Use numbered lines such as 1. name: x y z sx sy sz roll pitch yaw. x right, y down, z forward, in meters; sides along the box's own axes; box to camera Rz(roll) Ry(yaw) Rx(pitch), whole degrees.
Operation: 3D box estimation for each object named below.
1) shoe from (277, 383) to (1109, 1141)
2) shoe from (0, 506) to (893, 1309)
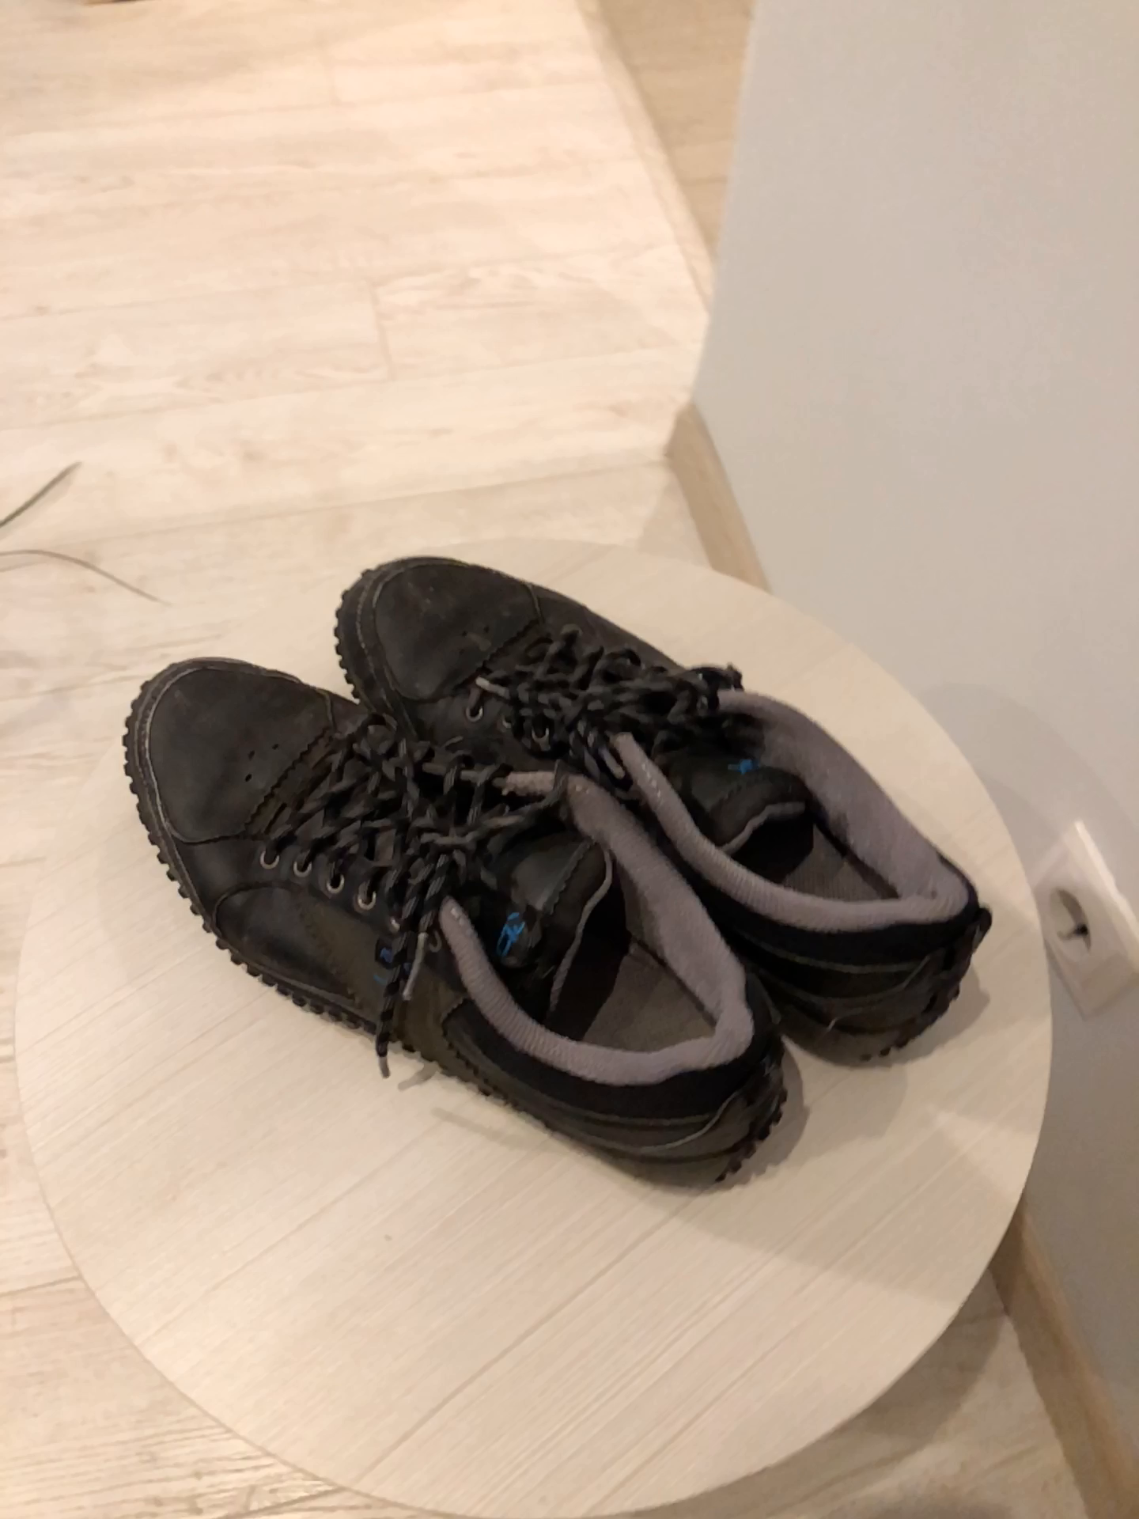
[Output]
1. shoe: 0.032 -0.006 0.462 0.270 0.099 0.110 38 64 19
2. shoe: -0.047 0.044 0.429 0.270 0.099 0.110 34 63 17
